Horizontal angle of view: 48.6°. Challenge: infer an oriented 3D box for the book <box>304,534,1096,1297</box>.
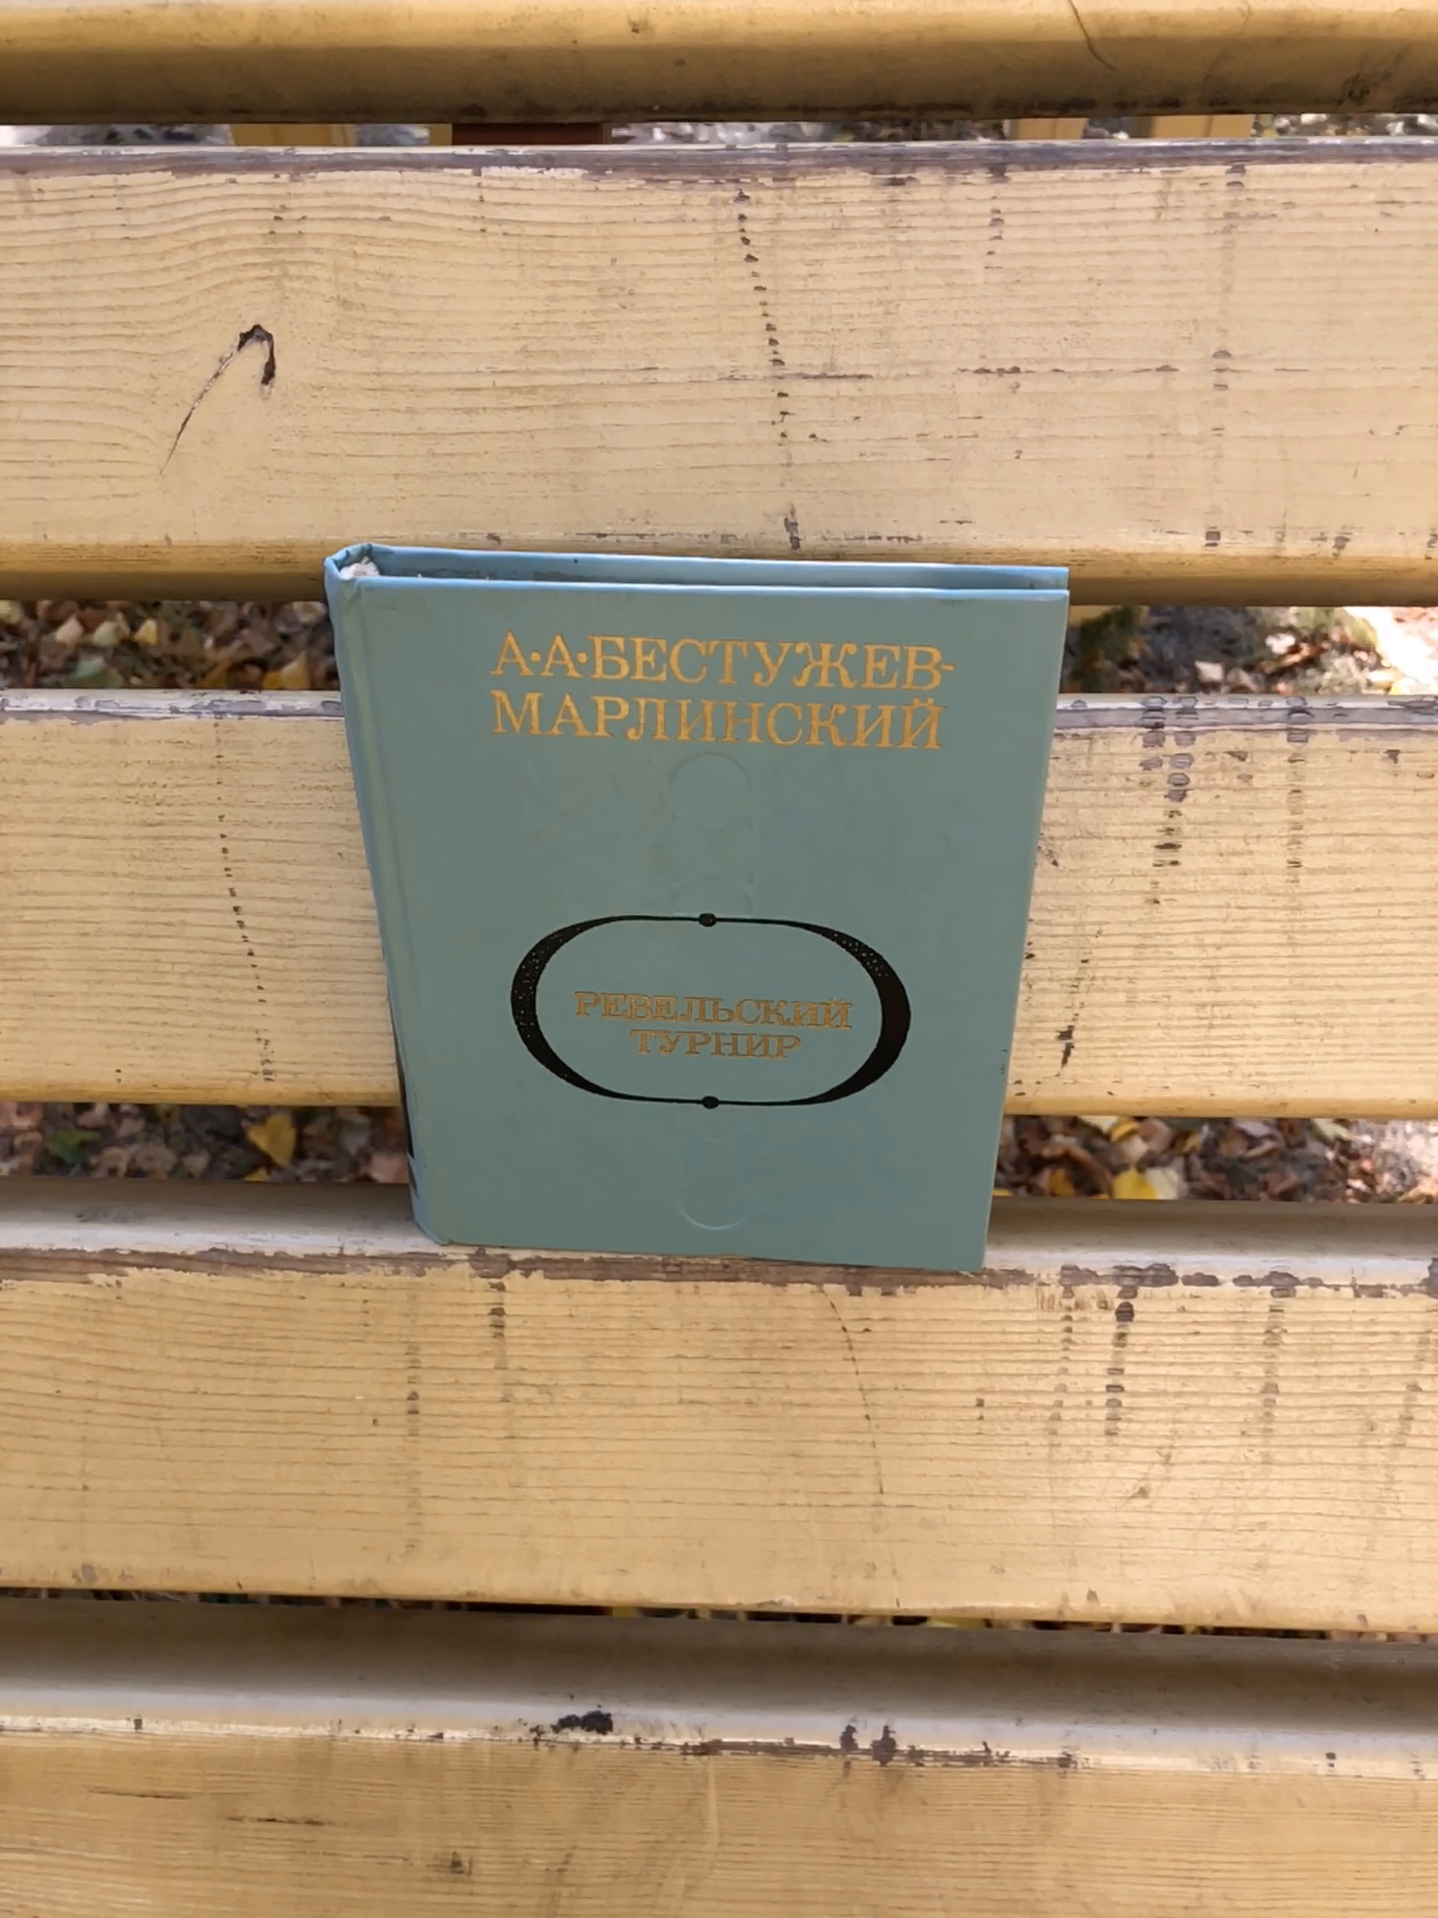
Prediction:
[{"bbox_3d":[-0.002,-0.002,0.336,0.140,0.169,0.022,4,36,8],"label":"book"}]
